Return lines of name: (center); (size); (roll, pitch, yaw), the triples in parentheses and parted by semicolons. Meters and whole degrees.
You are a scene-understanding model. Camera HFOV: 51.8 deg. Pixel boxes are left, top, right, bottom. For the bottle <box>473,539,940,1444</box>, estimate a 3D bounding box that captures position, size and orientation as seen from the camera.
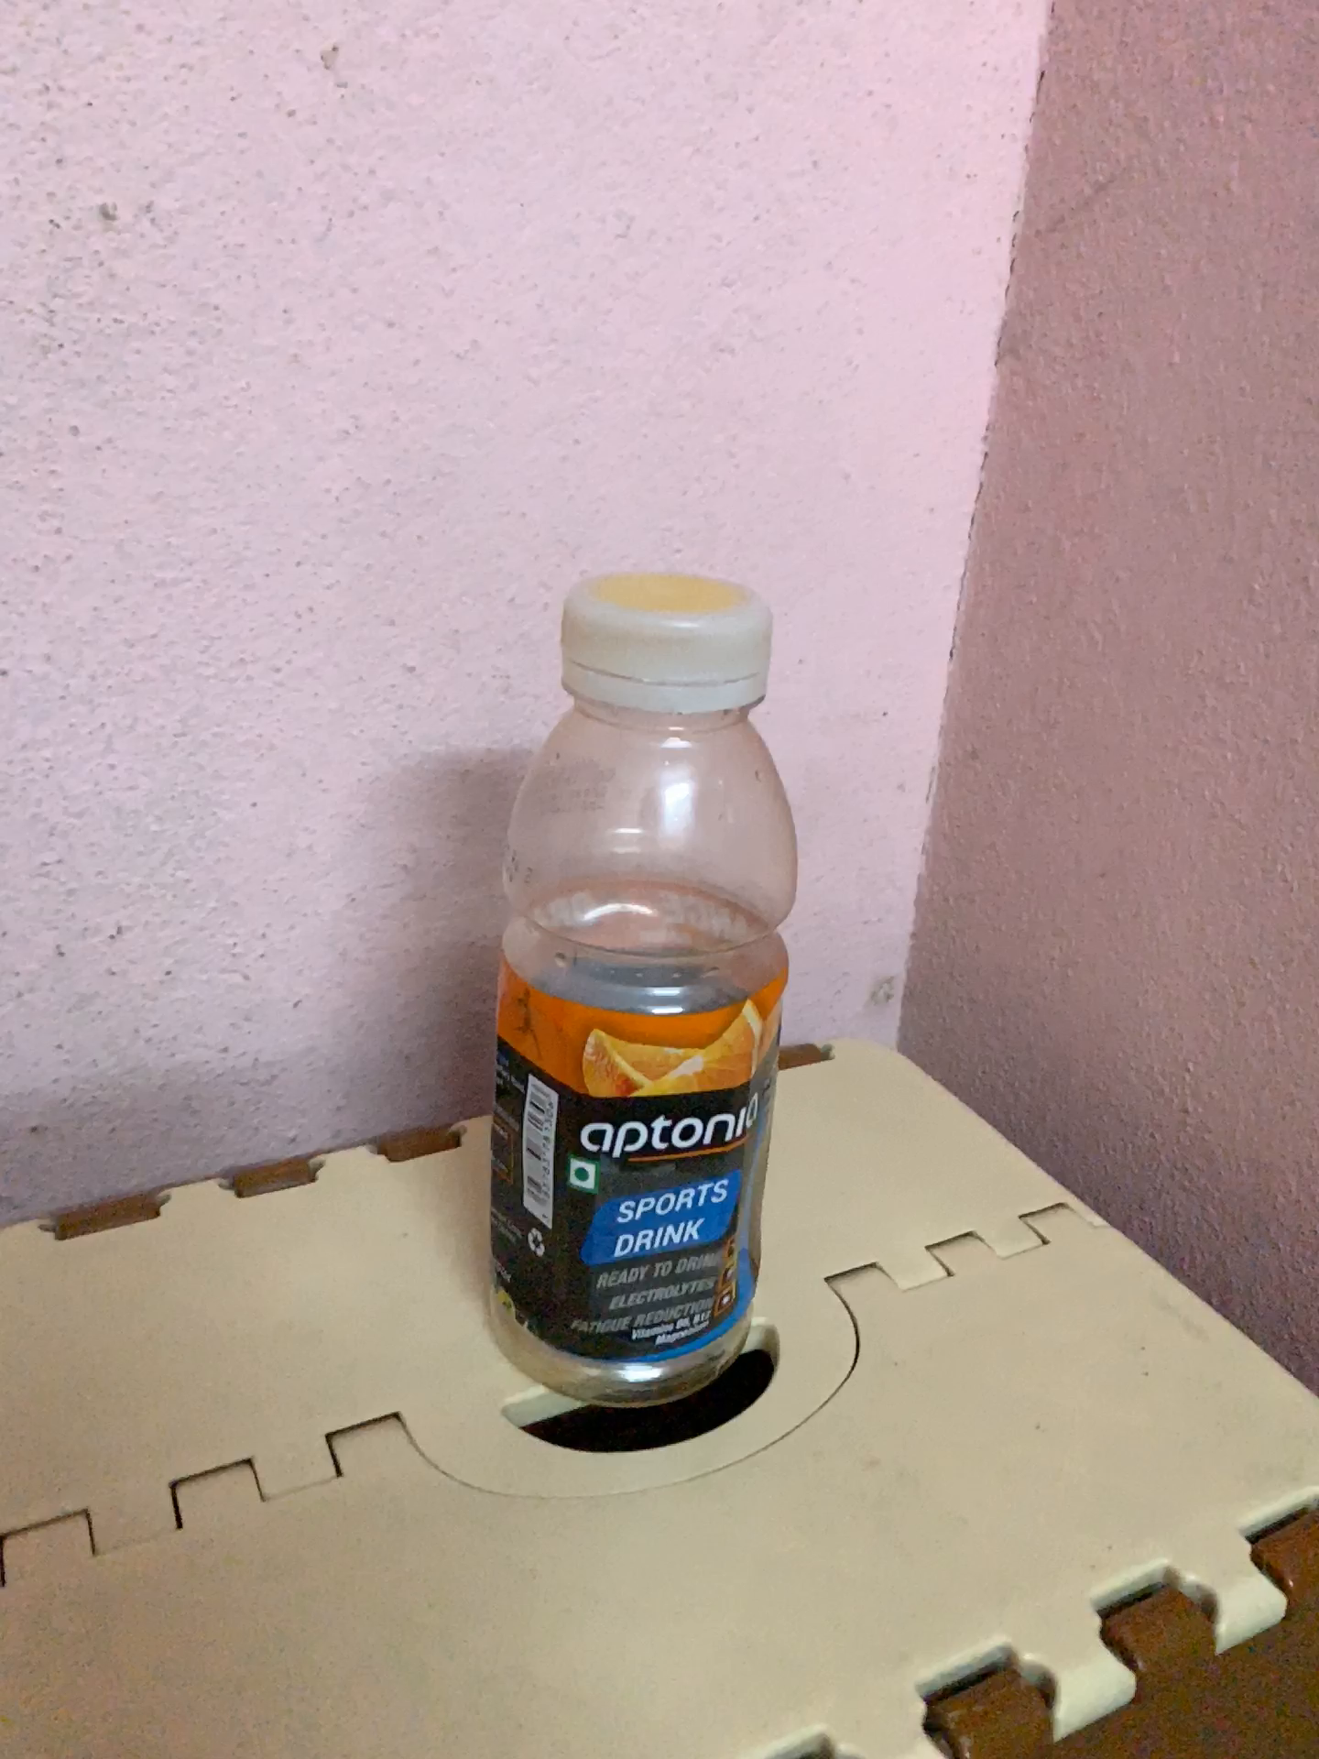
bottle: (0.002, 0.023, 0.295); (0.070, 0.179, 0.060); (-7, 26, -22)
